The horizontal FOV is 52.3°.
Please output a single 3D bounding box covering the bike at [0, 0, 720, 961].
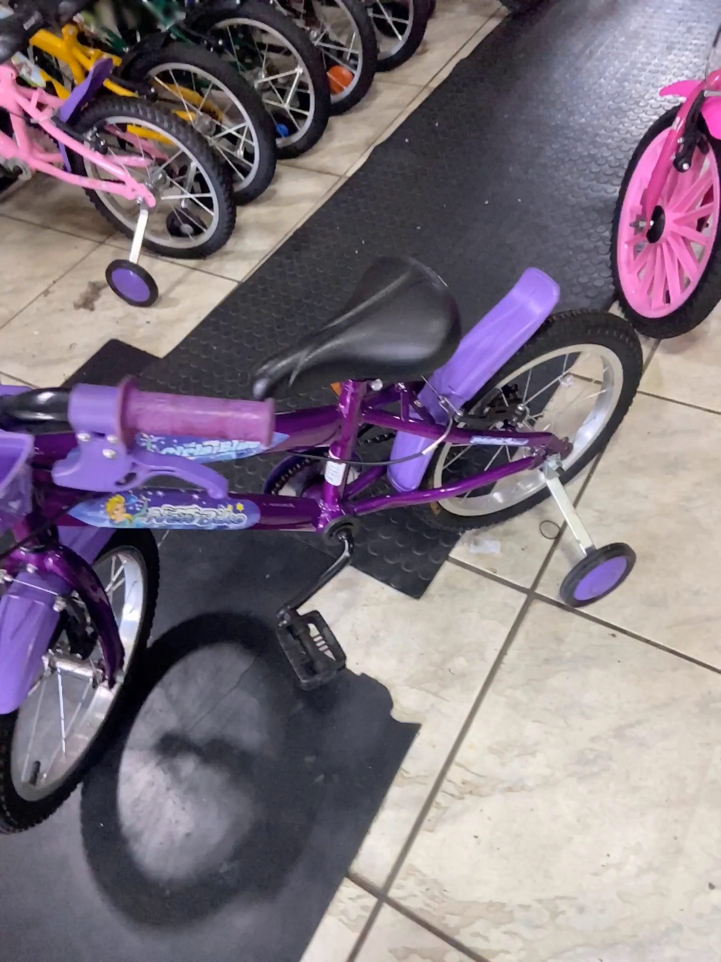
[{"bbox_3d":[-0.056,-0.026,0.790,0.972,0.742,0.449,-34,53,-15],"label":"bike"}]
